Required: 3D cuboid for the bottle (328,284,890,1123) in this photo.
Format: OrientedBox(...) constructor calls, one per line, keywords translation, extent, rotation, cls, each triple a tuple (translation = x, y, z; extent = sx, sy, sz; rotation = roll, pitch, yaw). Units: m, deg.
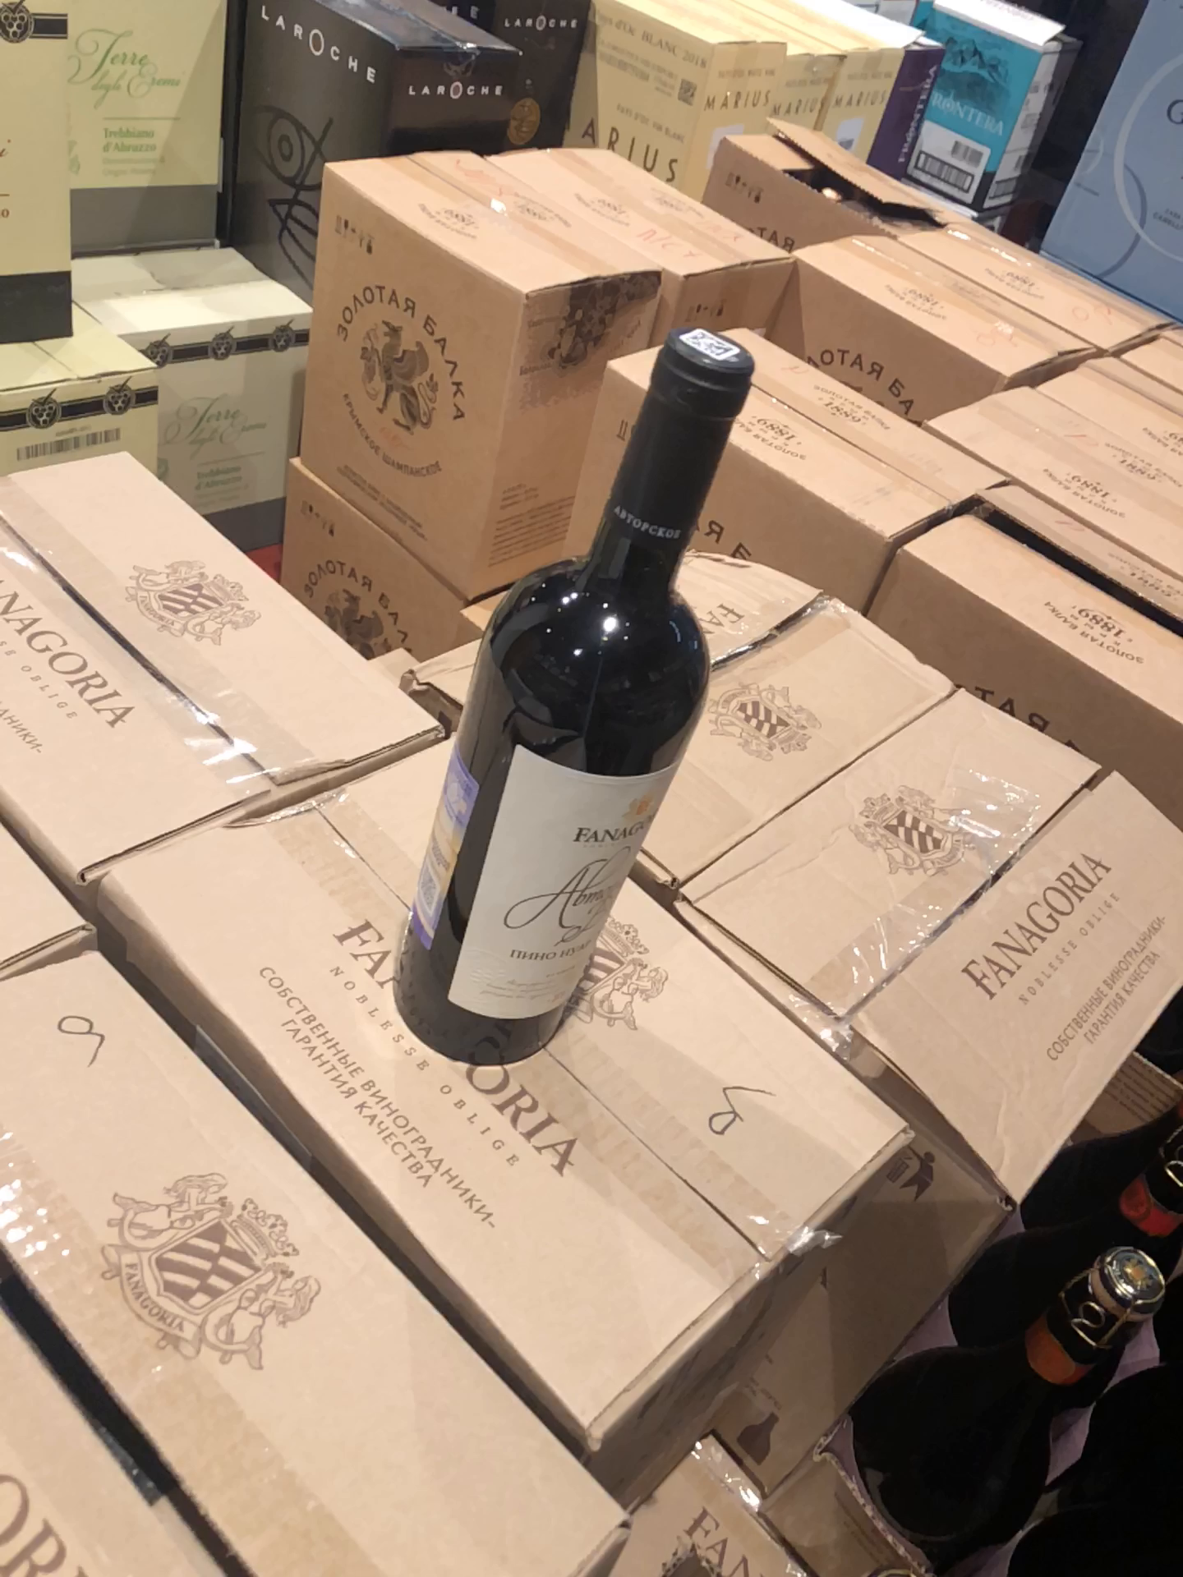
OrientedBox(translation=(-0.012, -0.018, 0.490), extent=(0.100, 0.308, 0.090), rotation=(-21, 53, -39), cls="bottle")
